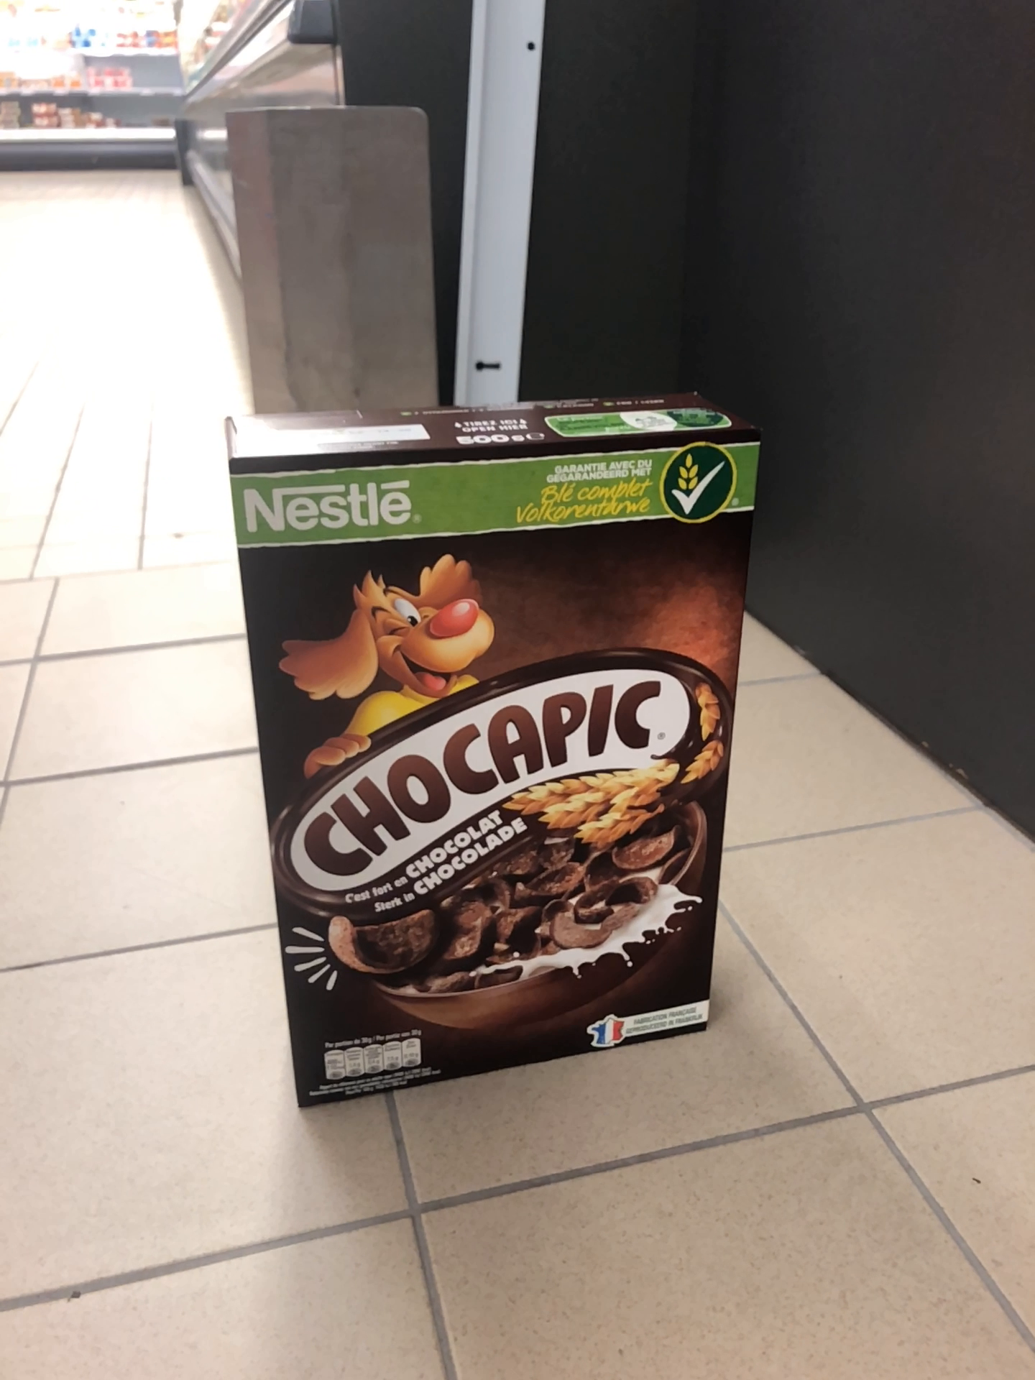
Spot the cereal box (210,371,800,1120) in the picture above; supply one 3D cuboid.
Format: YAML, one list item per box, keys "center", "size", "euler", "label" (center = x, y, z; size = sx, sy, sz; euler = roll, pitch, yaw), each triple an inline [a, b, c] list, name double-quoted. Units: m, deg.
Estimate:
- center: [-0.009, 0.026, 0.470]
  size: [0.200, 0.288, 0.070]
  euler: [-5, 26, -13]
  label: "cereal box"

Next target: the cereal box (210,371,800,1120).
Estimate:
- center: [-0.009, 0.026, 0.470]
  size: [0.200, 0.288, 0.070]
  euler: [-5, 26, -13]
  label: "cereal box"
